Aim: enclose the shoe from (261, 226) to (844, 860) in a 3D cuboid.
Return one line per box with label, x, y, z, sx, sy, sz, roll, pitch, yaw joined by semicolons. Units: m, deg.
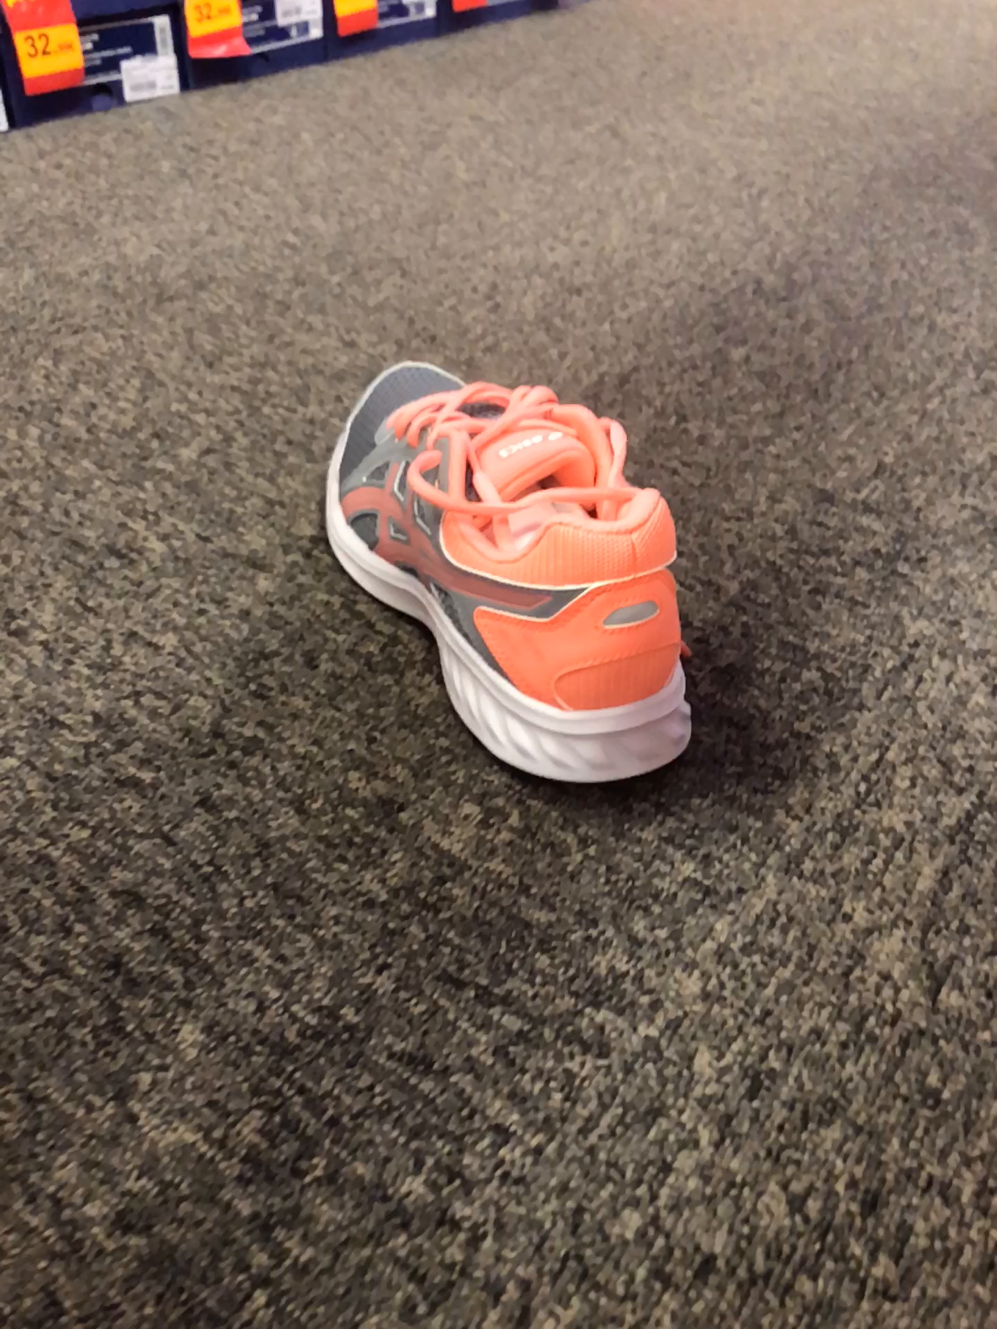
shoe;-0.001;-0.067;0.427;0.110;0.109;0.251;-14;43;-19
